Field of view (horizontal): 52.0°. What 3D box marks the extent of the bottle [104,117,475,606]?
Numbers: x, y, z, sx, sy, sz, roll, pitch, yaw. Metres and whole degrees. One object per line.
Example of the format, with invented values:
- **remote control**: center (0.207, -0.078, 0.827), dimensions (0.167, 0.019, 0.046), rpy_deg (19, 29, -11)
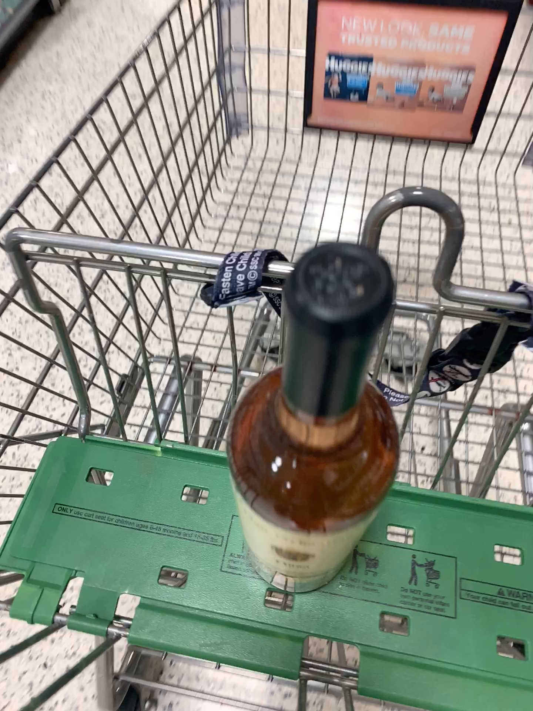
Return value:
- **bottle**: center (0.015, 0.051, 0.279), dimensions (0.083, 0.317, 0.087), rpy_deg (-1, 58, 1)
